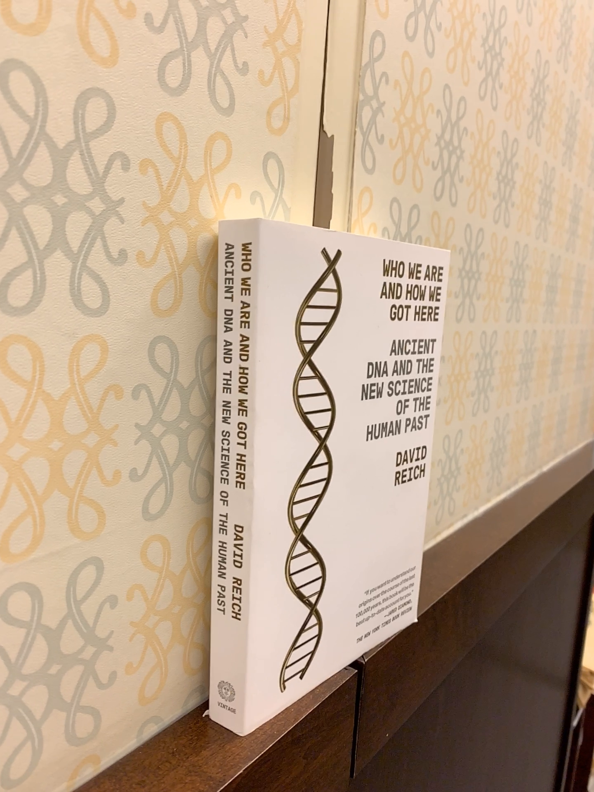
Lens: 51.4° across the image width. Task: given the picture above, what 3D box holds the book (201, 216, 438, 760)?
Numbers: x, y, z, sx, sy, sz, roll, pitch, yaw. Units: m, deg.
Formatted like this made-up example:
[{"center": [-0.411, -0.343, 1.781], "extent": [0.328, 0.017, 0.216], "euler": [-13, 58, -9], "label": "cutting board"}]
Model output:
[{"center": [0.016, 0.030, 0.284], "extent": [0.041, 0.199, 0.127], "euler": [7, 9, 32], "label": "book"}]
